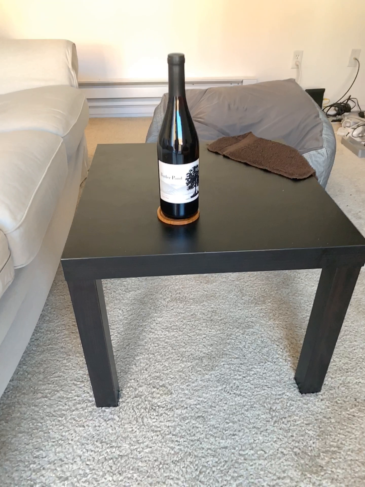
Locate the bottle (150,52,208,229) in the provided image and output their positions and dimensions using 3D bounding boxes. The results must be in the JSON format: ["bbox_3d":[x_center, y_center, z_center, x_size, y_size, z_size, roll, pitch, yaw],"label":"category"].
[{"bbox_3d":[-0.008,-0.166,0.630,0.080,0.268,0.101,0,35,-2],"label":"bottle"}]
